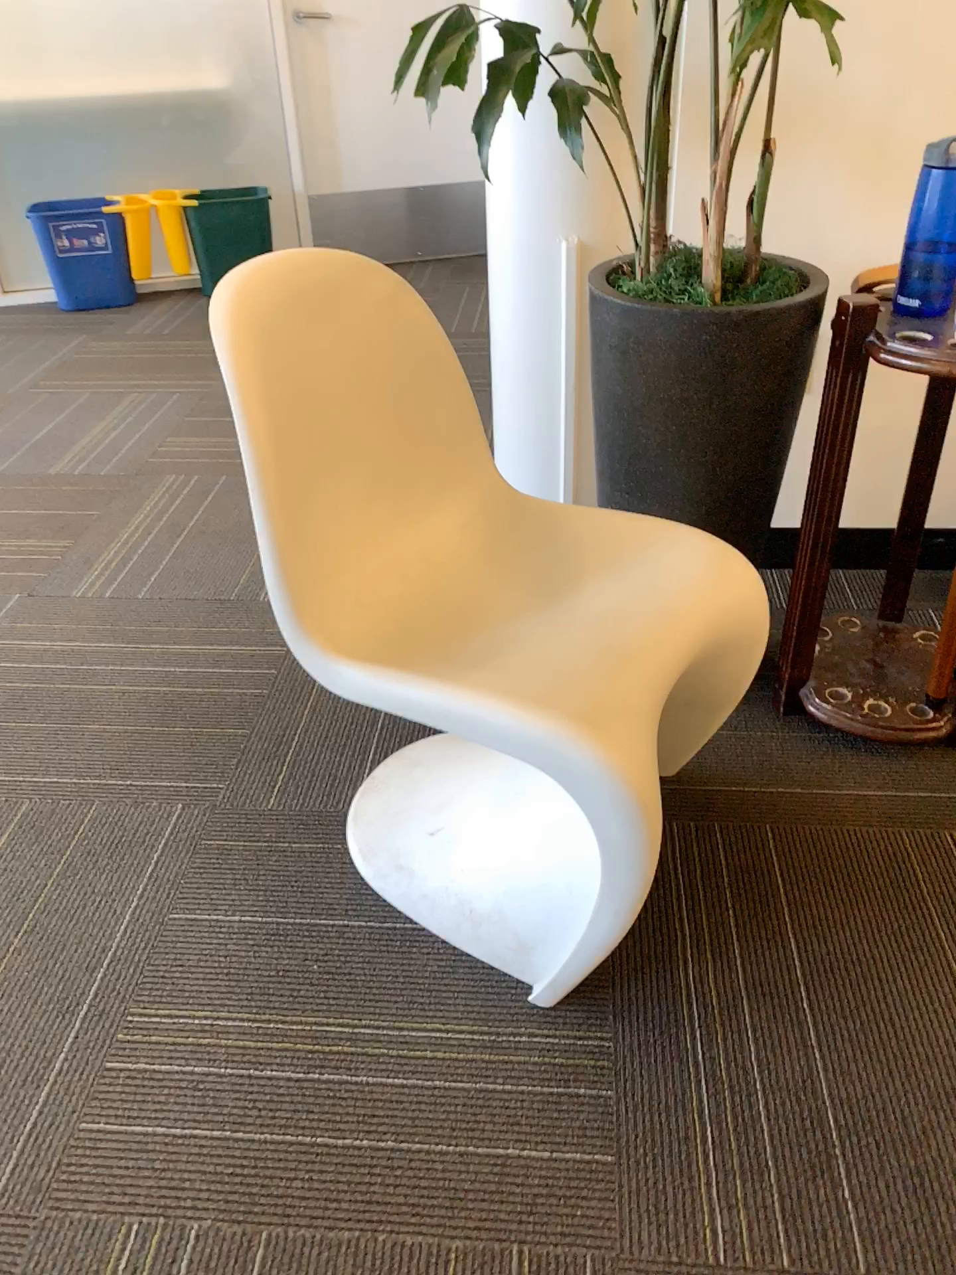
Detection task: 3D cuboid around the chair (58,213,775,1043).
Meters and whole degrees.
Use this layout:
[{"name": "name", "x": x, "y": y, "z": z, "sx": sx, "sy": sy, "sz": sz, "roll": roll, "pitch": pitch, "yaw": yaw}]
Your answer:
[{"name": "chair", "x": 0.007, "y": -0.054, "z": 1.235, "sx": 0.581, "sy": 0.775, "sz": 0.603, "roll": 8, "pitch": 35, "yaw": 15}]
